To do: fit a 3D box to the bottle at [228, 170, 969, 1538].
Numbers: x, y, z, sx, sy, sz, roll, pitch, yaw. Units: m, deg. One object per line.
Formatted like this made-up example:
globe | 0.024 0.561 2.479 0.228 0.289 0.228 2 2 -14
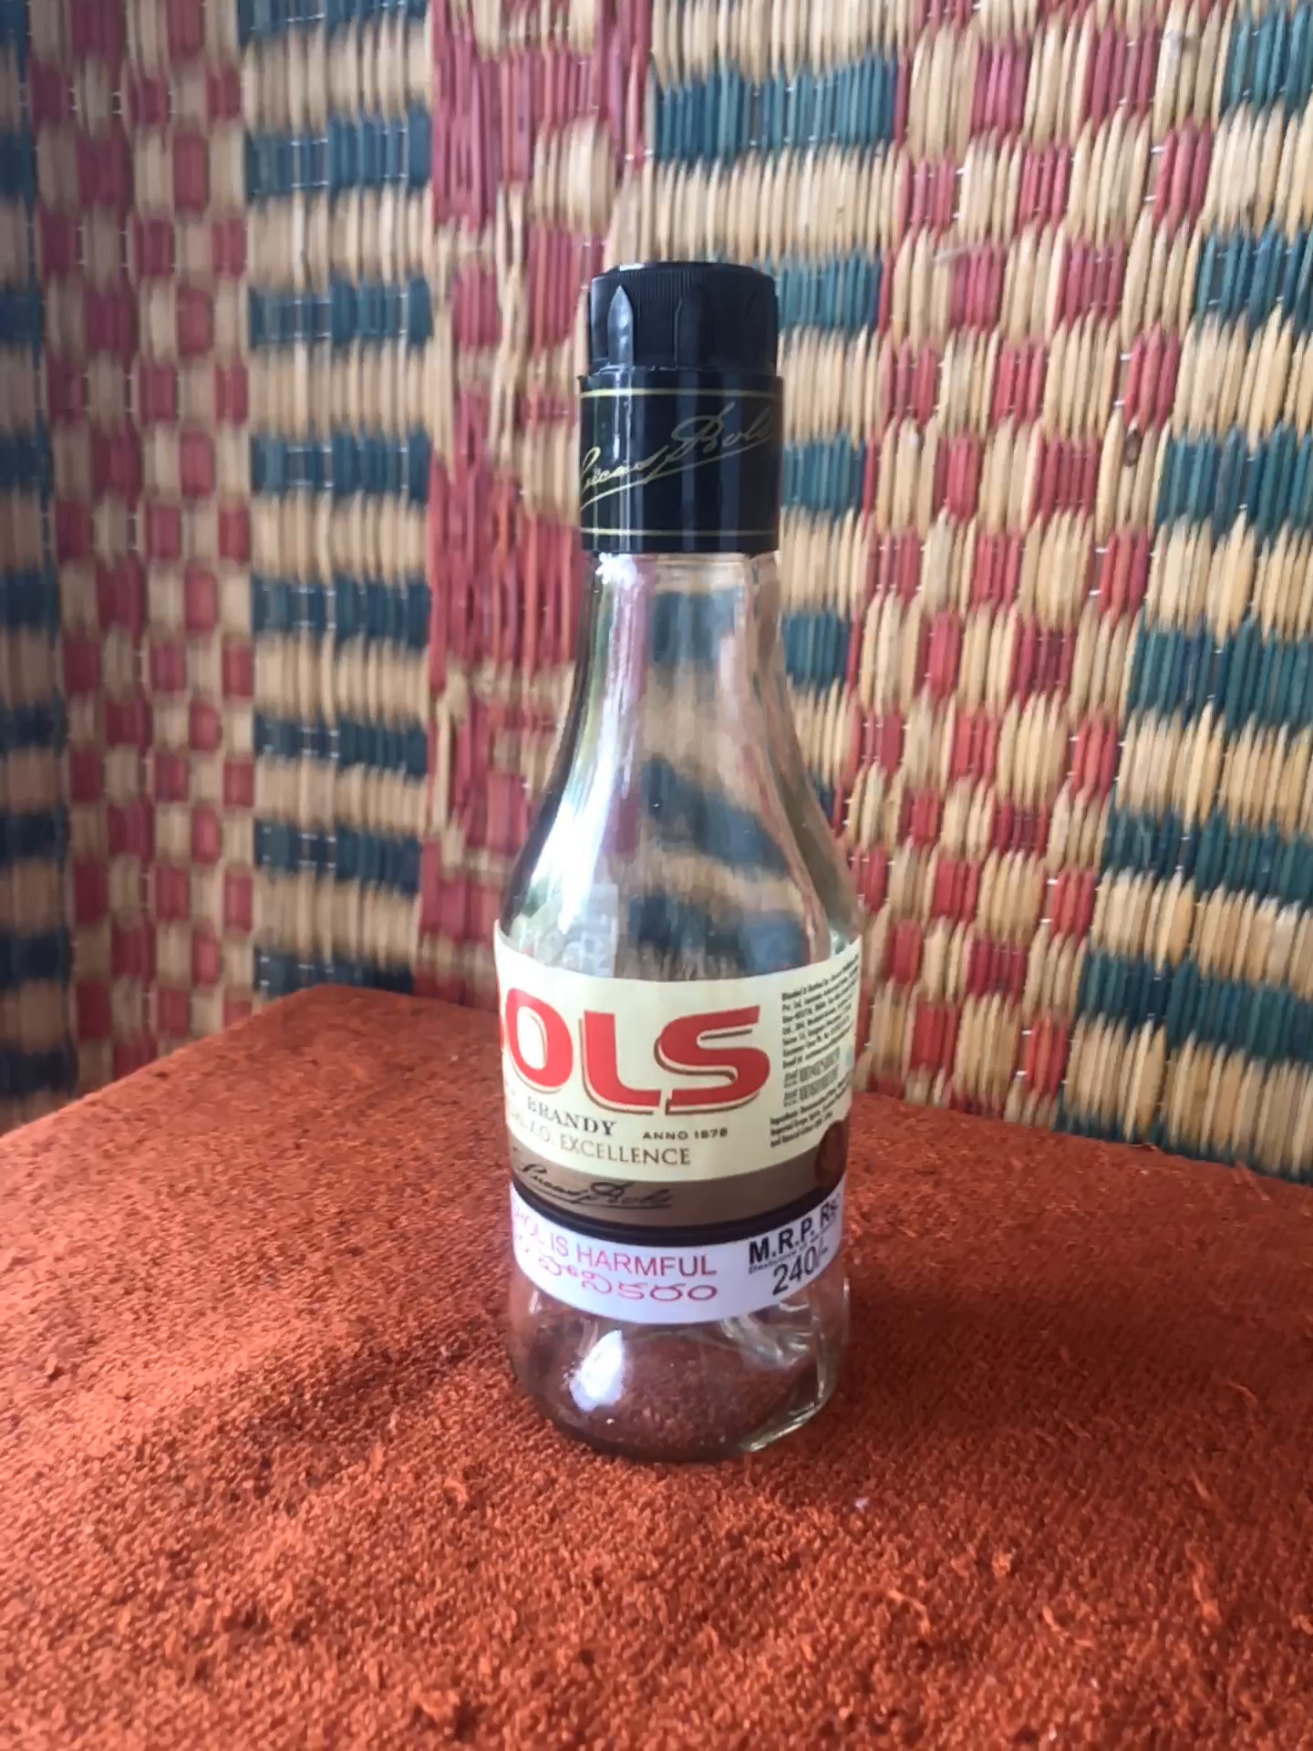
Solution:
bottle | -0.006 -0.005 0.206 0.070 0.159 0.060 11 21 31
